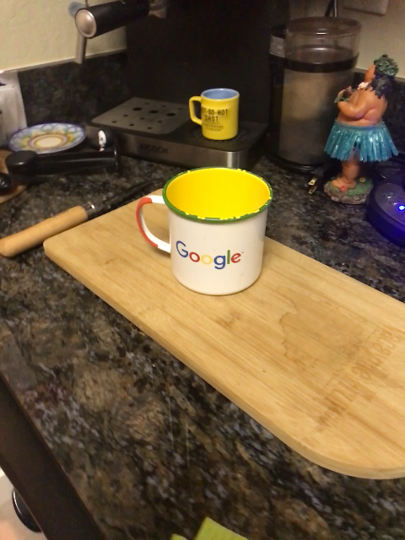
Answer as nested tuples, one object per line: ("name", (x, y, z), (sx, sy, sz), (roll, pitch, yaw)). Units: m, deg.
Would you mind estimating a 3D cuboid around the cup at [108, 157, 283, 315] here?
("cup", (-0.002, -0.037, 0.417), (0.130, 0.089, 0.101), (11, 40, 14))
